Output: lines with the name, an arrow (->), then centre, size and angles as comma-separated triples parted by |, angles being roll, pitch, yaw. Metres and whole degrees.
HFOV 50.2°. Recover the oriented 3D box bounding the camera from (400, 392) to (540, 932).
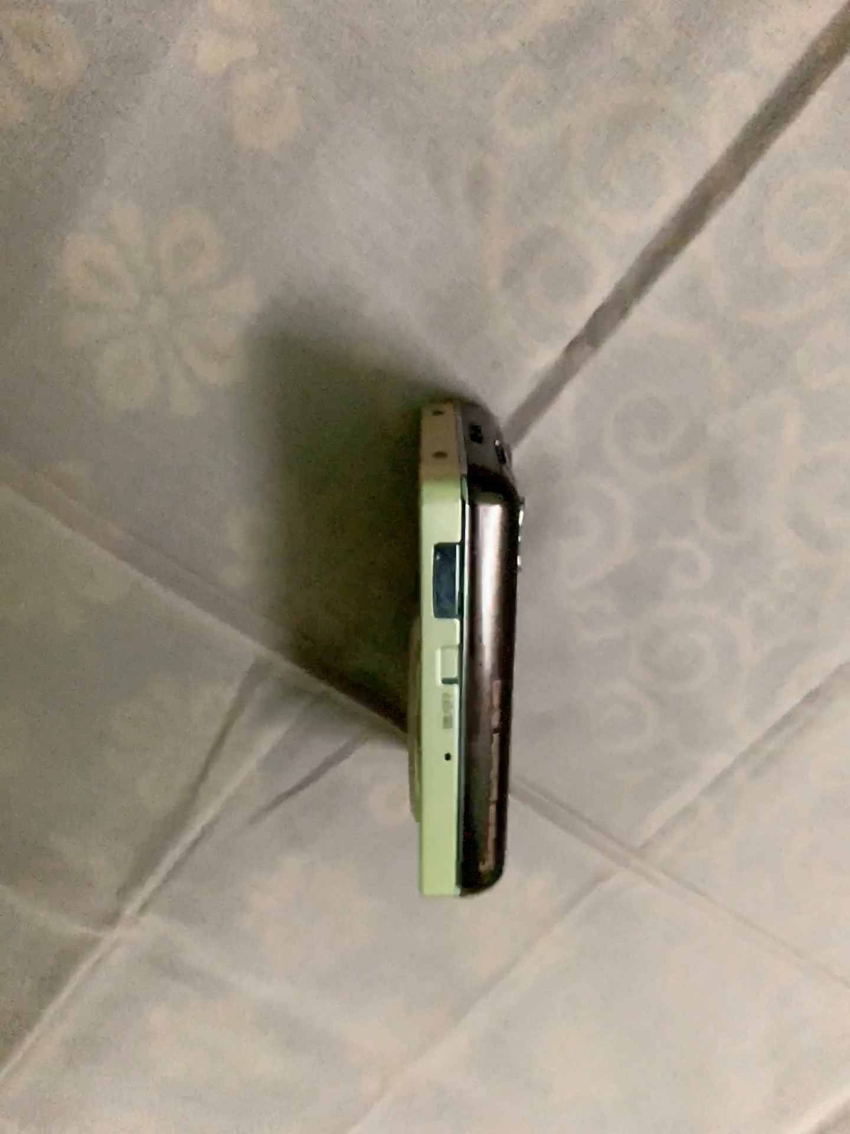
camera -> 0.006, 0.016, 0.180 | 0.021, 0.060, 0.089 | -1, 113, -1
